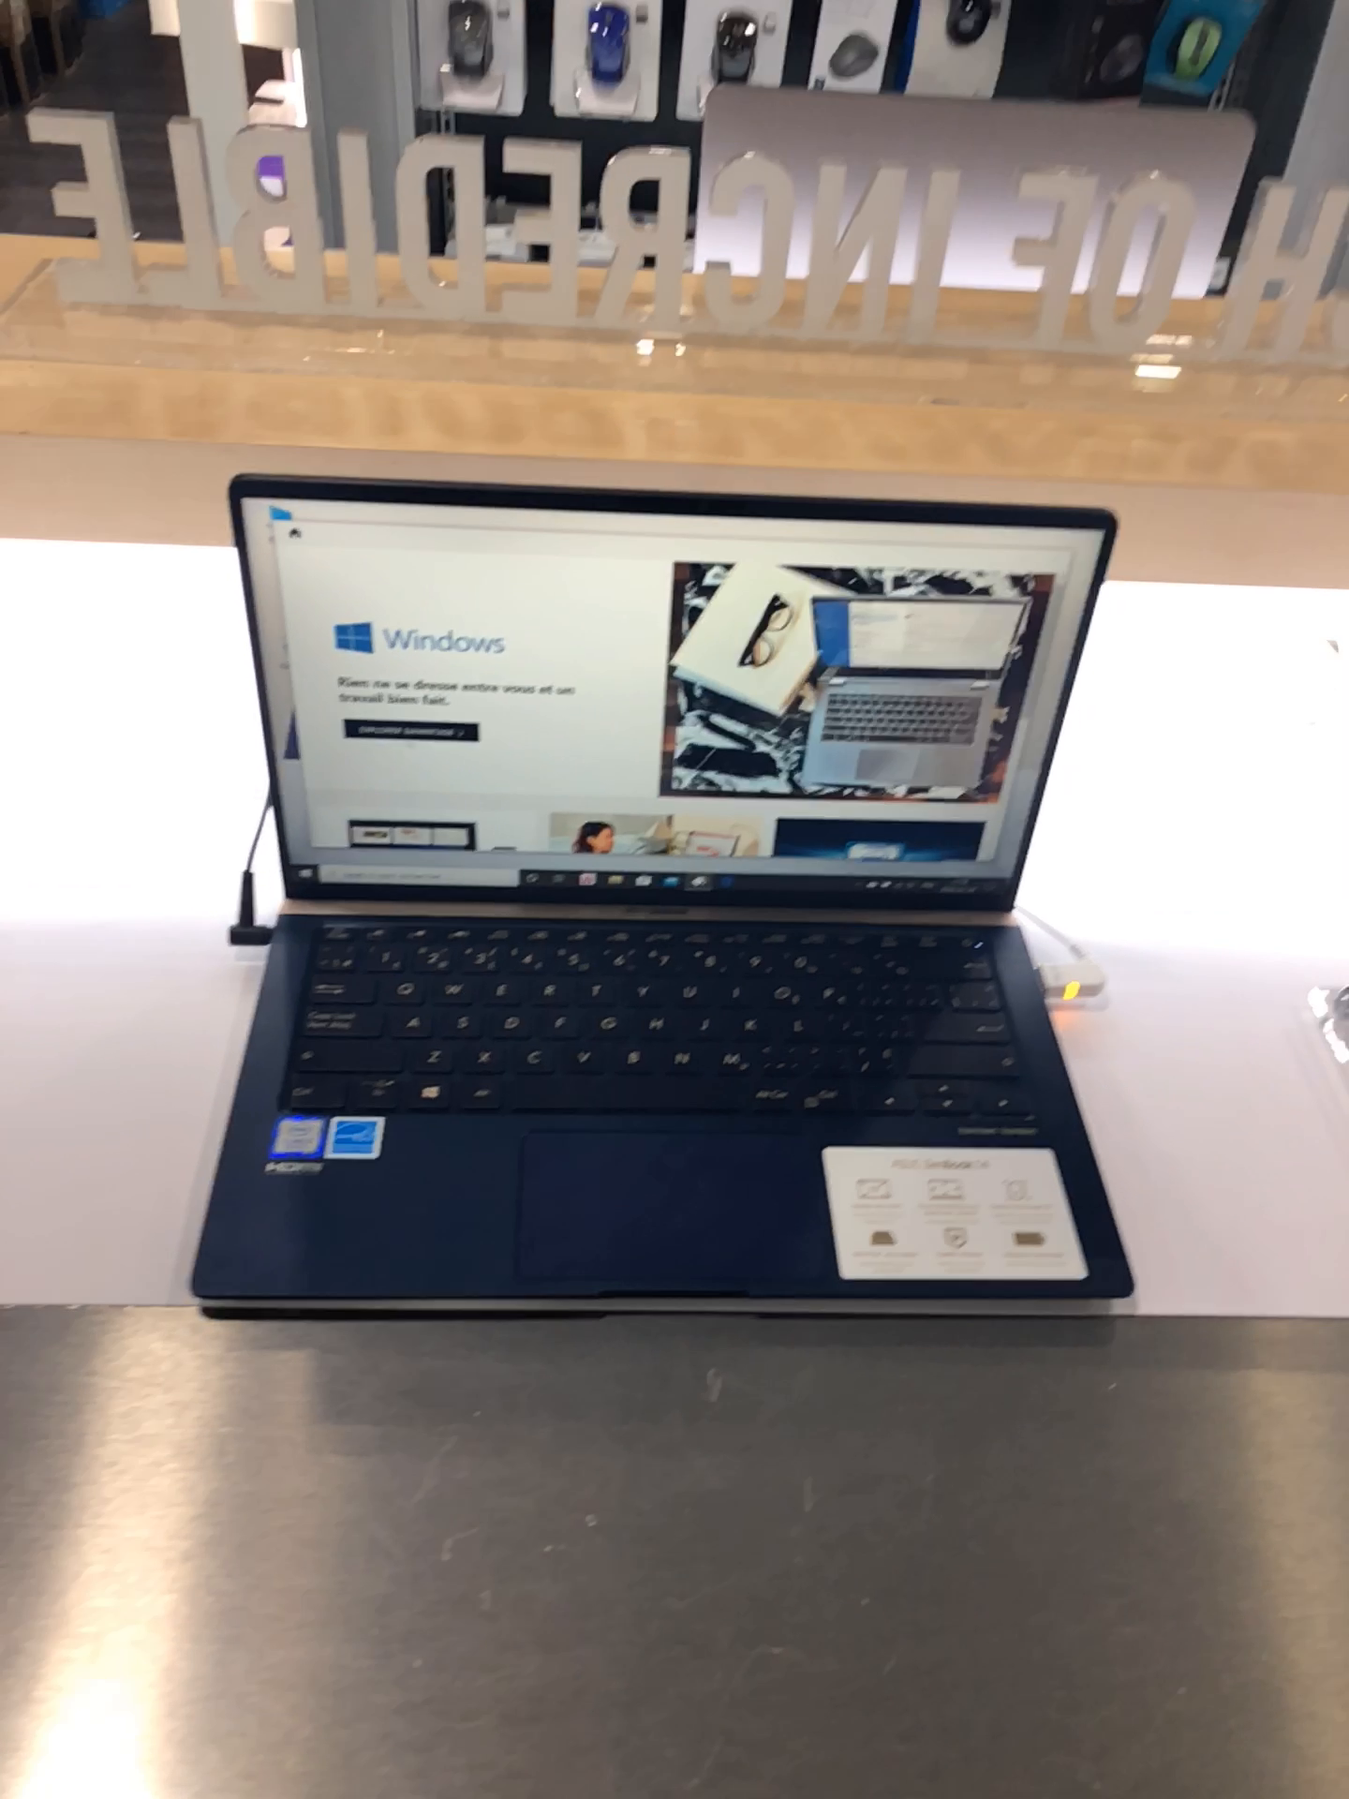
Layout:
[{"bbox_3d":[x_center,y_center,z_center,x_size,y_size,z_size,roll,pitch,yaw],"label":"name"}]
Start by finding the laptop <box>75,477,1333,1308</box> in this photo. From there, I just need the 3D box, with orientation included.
[{"bbox_3d":[0.003,-0.003,0.483,0.301,0.182,0.191,1,40,-5],"label":"laptop"}]
